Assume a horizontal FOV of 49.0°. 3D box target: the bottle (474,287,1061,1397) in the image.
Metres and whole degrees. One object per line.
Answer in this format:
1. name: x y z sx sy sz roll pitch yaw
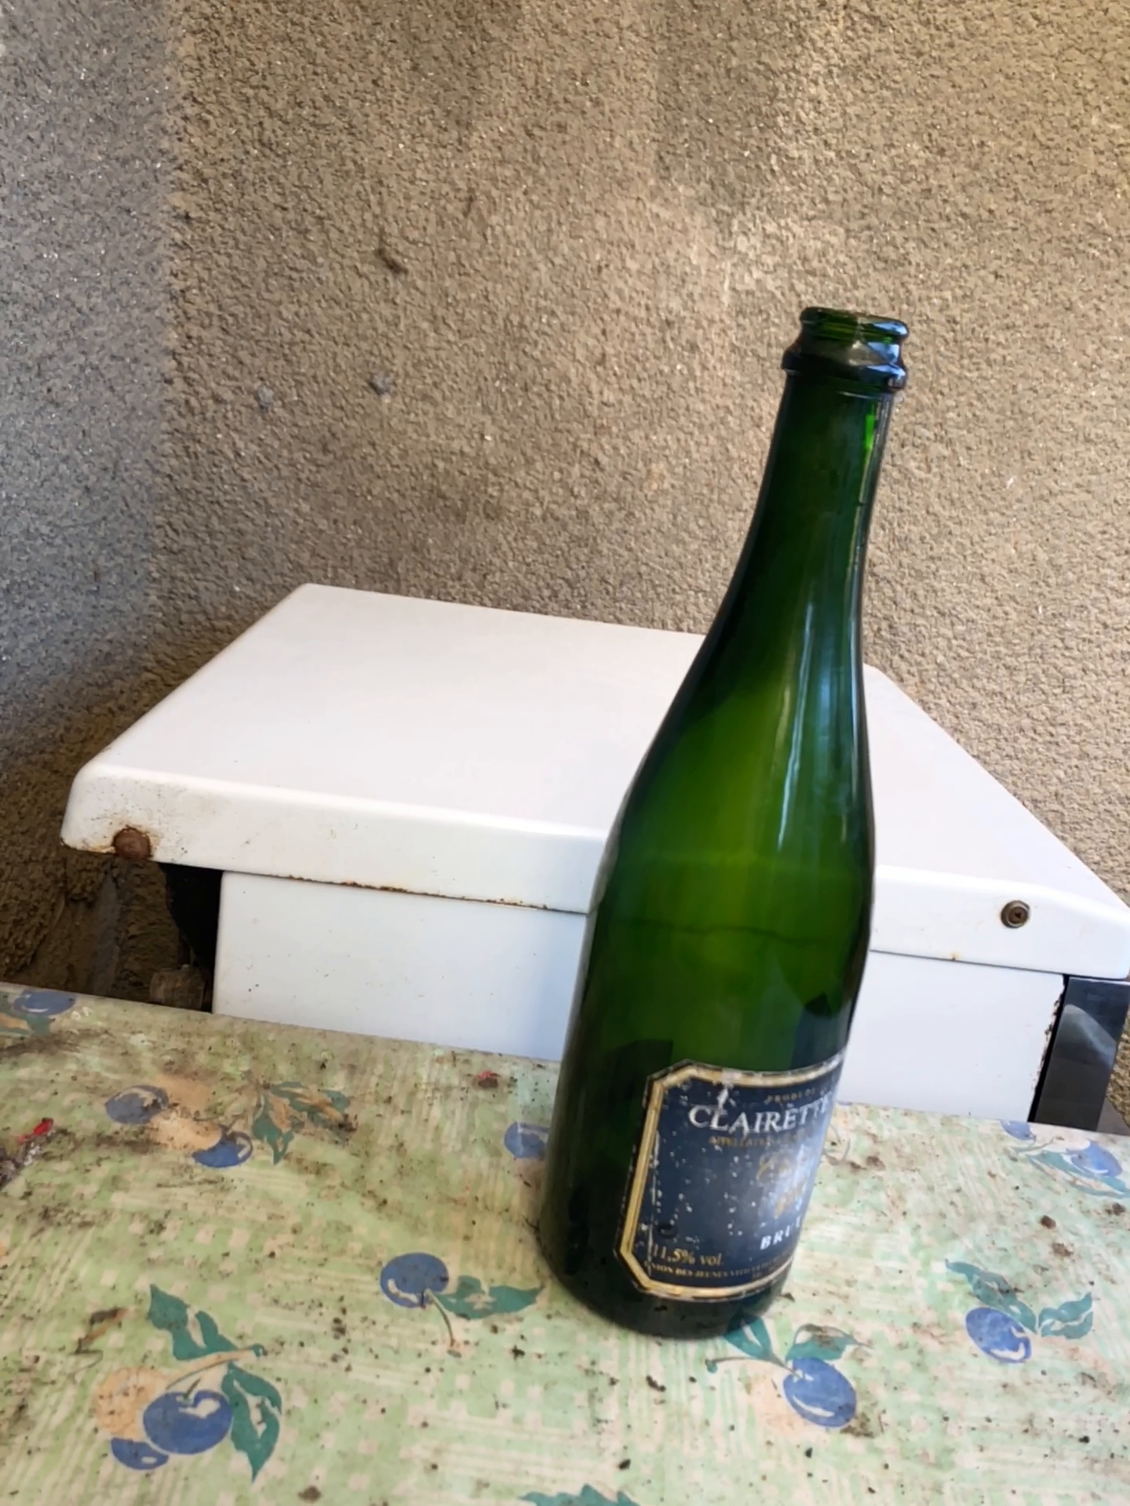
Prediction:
1. bottle: 0.052 0.029 0.382 0.090 0.309 0.080 -4 21 -39
